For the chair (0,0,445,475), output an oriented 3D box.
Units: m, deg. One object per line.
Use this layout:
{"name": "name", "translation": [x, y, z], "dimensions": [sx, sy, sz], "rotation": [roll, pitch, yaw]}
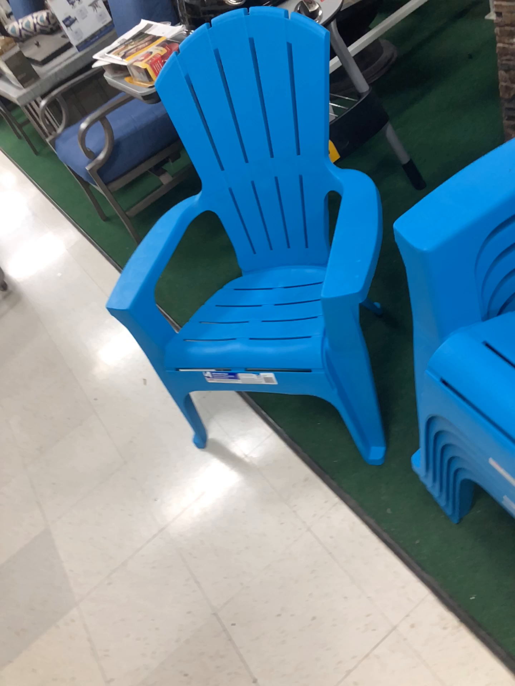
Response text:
{"name": "chair", "translation": [0.012, -0.217, 1.435], "dimensions": [0.683, 0.931, 0.648], "rotation": [0, 51, 29]}
